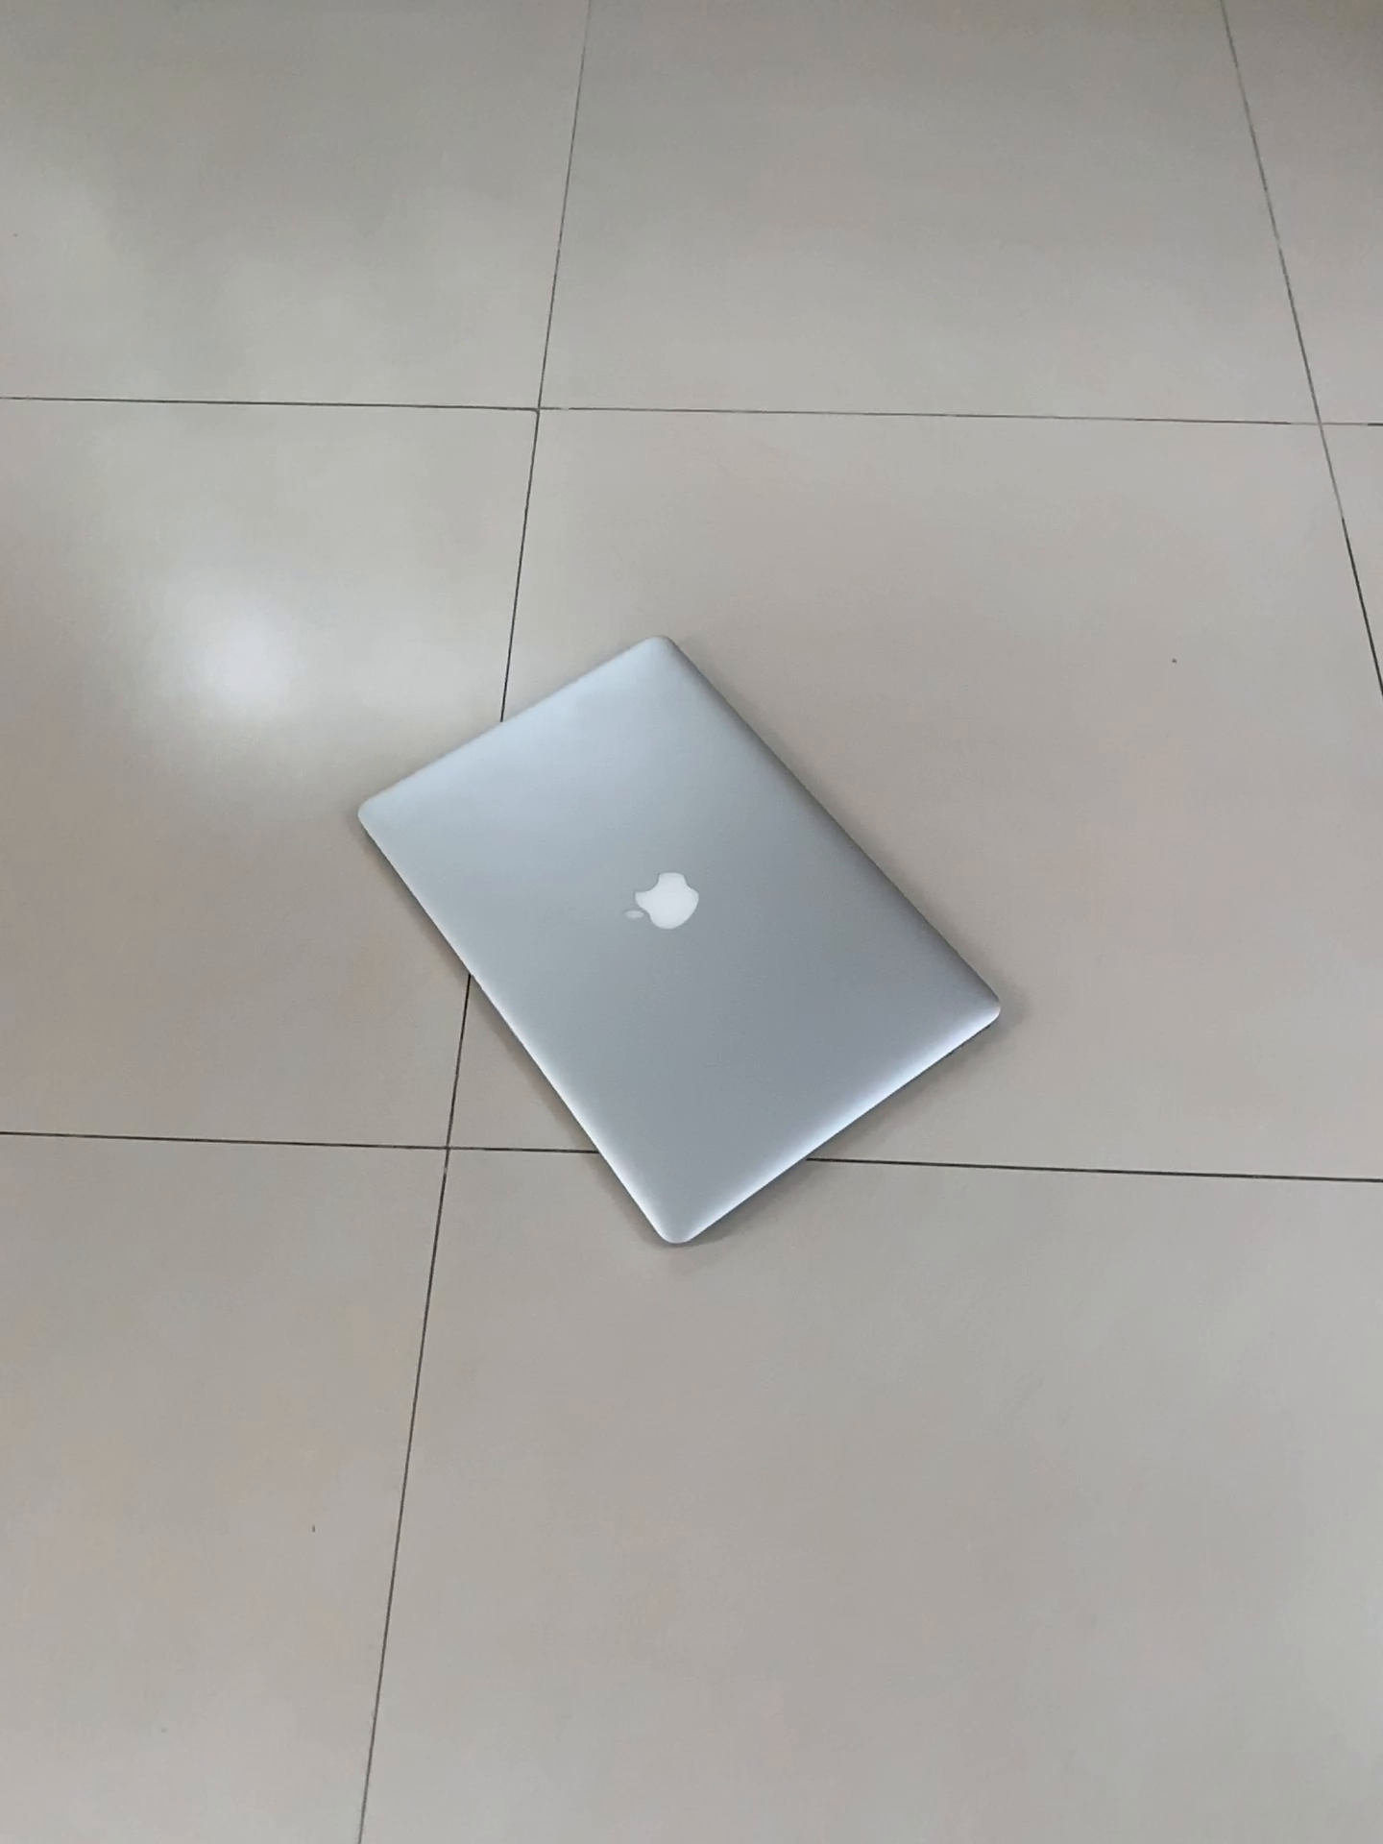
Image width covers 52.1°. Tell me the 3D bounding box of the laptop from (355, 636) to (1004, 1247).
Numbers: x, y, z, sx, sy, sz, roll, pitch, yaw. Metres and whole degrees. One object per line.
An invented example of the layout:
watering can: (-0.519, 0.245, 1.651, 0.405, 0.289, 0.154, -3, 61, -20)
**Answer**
laptop: (-0.017, -0.010, 0.877, 0.239, 0.001, 0.356, -33, 66, -16)
